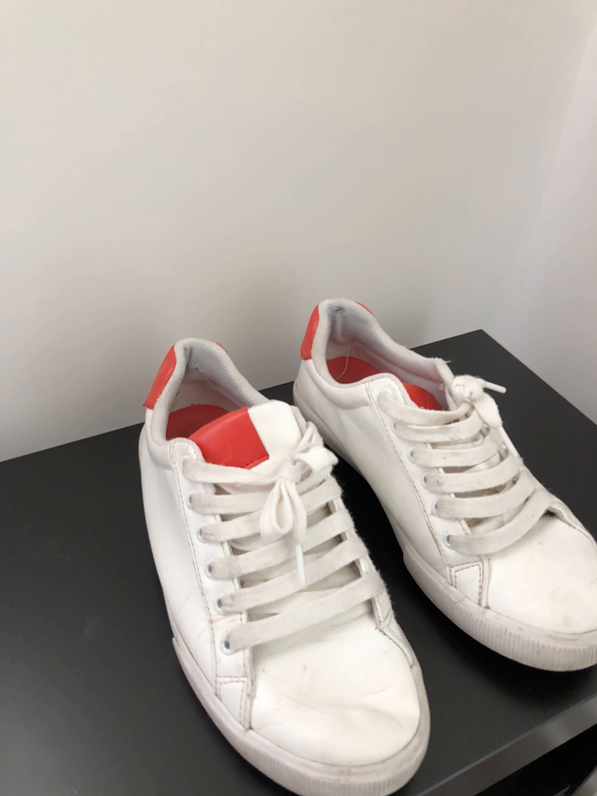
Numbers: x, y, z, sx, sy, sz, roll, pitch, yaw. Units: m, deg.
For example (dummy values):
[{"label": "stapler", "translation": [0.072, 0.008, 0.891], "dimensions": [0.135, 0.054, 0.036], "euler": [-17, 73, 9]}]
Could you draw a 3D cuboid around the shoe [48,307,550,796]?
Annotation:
[{"label": "shoe", "translation": [-0.023, 0.061, 0.296], "dimensions": [0.102, 0.080, 0.236], "euler": [-18, 44, -25]}]

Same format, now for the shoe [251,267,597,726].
[{"label": "shoe", "translation": [0.073, 0.028, 0.348], "dimensions": [0.100, 0.080, 0.231], "euler": [-18, 44, -25]}]
